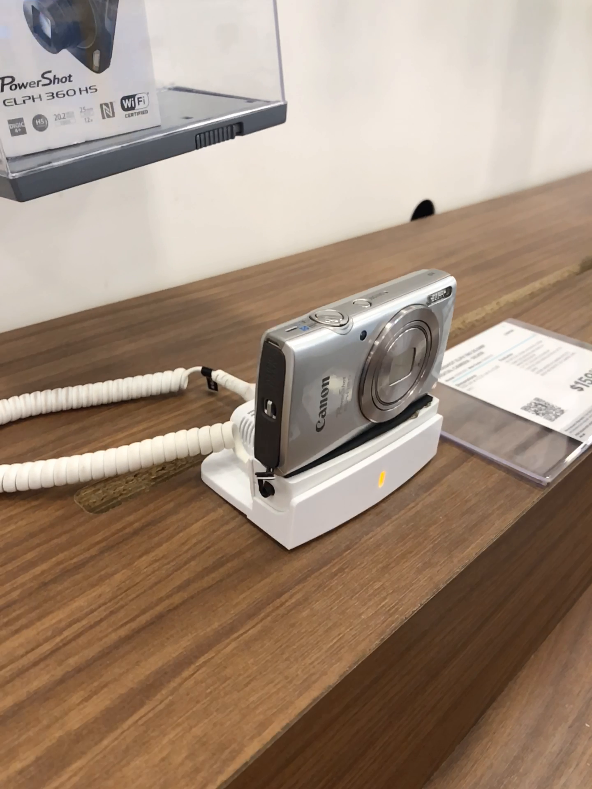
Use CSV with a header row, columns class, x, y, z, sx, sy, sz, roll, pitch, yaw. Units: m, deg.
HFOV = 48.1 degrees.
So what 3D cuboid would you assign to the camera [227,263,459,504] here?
class,x,y,z,sx,sy,sz,roll,pitch,yaw
camera,0.020,-0.008,0.252,0.020,0.060,0.100,31,40,33
